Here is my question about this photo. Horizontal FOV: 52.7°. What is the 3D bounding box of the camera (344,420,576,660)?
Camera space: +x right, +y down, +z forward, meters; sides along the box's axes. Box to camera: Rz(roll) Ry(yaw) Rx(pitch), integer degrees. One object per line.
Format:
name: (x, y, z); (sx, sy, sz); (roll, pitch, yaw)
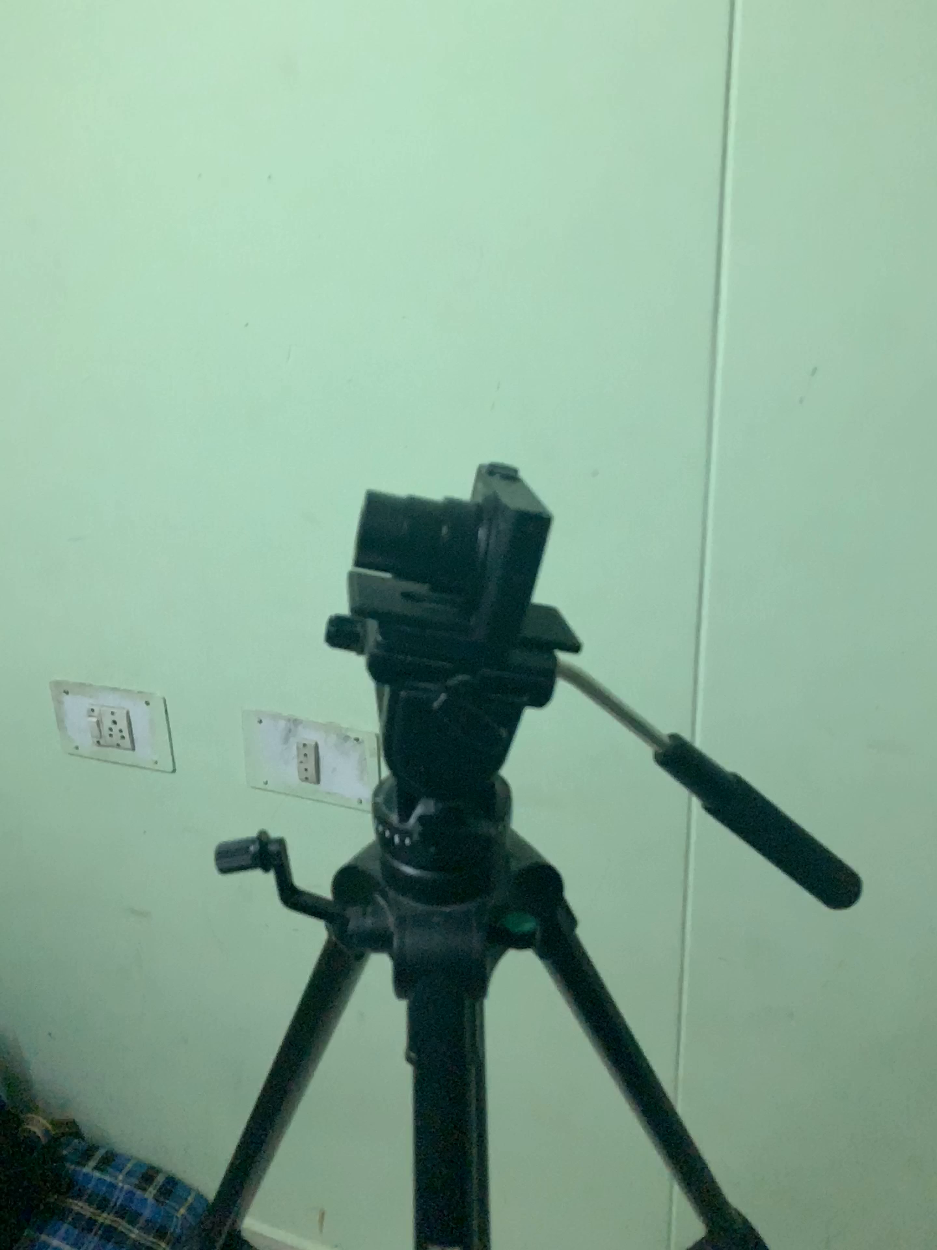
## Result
camera: (-0.009, -0.039, 0.385); (0.067, 0.060, 0.103); (12, 17, -13)
